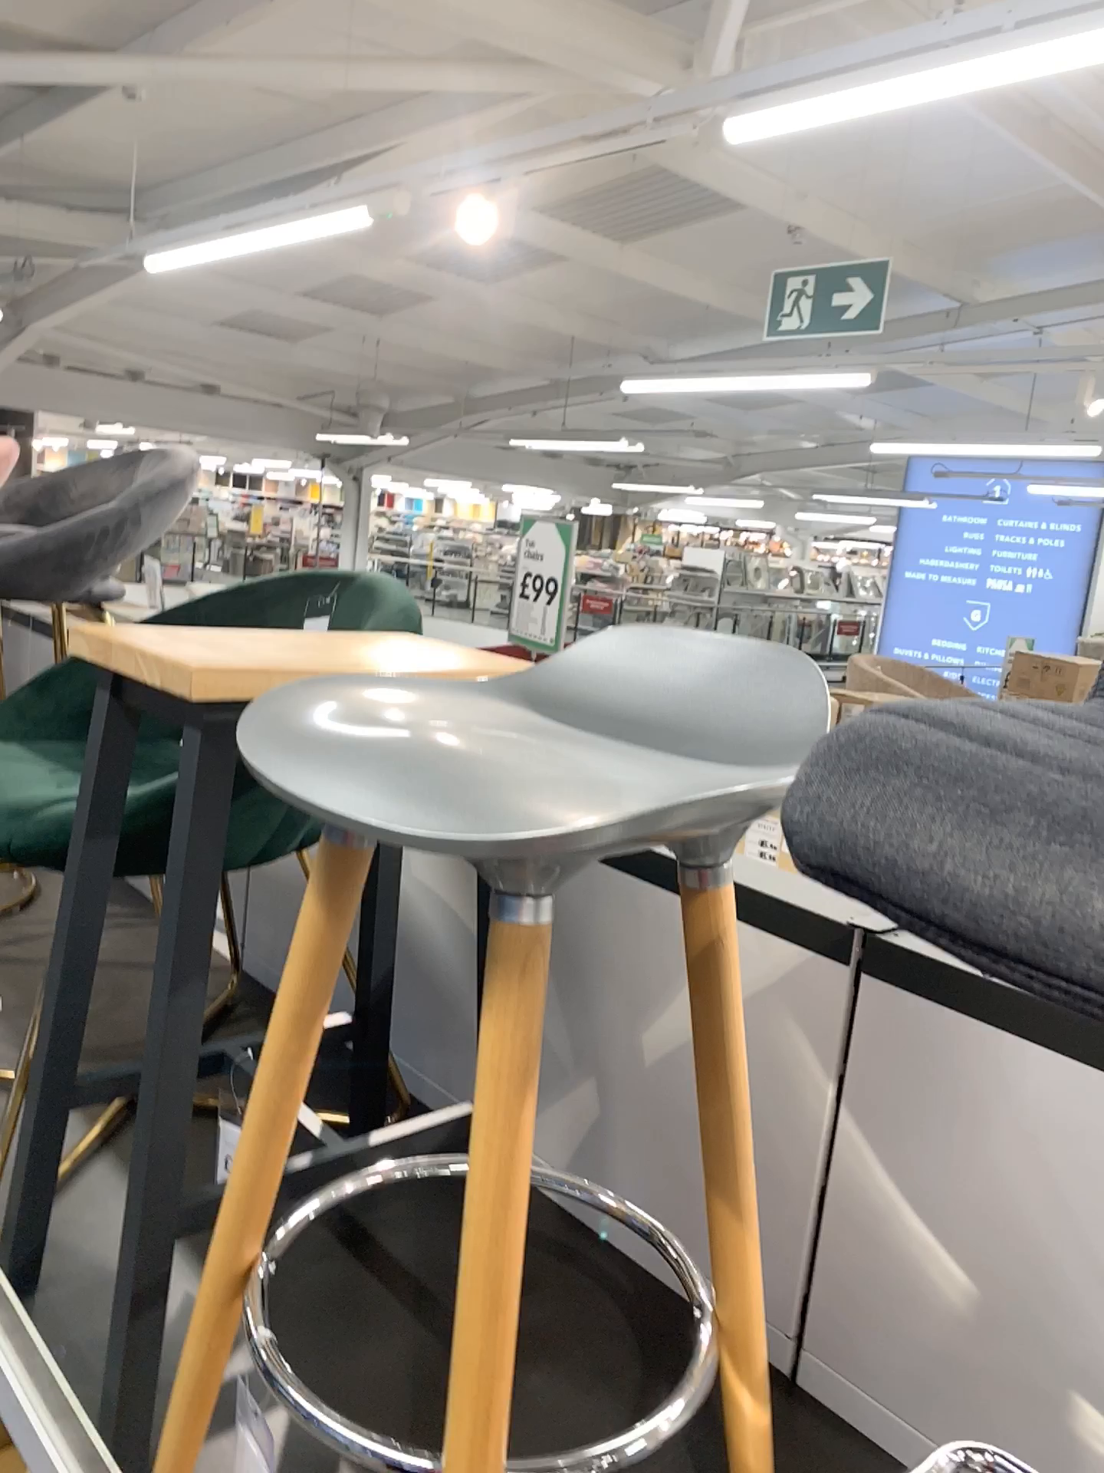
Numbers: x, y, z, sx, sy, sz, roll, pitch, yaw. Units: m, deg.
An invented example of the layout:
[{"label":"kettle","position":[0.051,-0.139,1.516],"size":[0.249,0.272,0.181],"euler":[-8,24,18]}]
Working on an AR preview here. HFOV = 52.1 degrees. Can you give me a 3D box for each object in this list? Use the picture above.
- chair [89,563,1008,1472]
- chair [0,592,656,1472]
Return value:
[{"label":"chair","position":[-0.028,0.272,0.883],"size":[0.461,0.737,0.443],"euler":[-1,12,-42]},{"label":"chair","position":[-0.265,0.230,1.192],"size":[0.501,0.688,0.443],"euler":[-2,12,-44]}]
